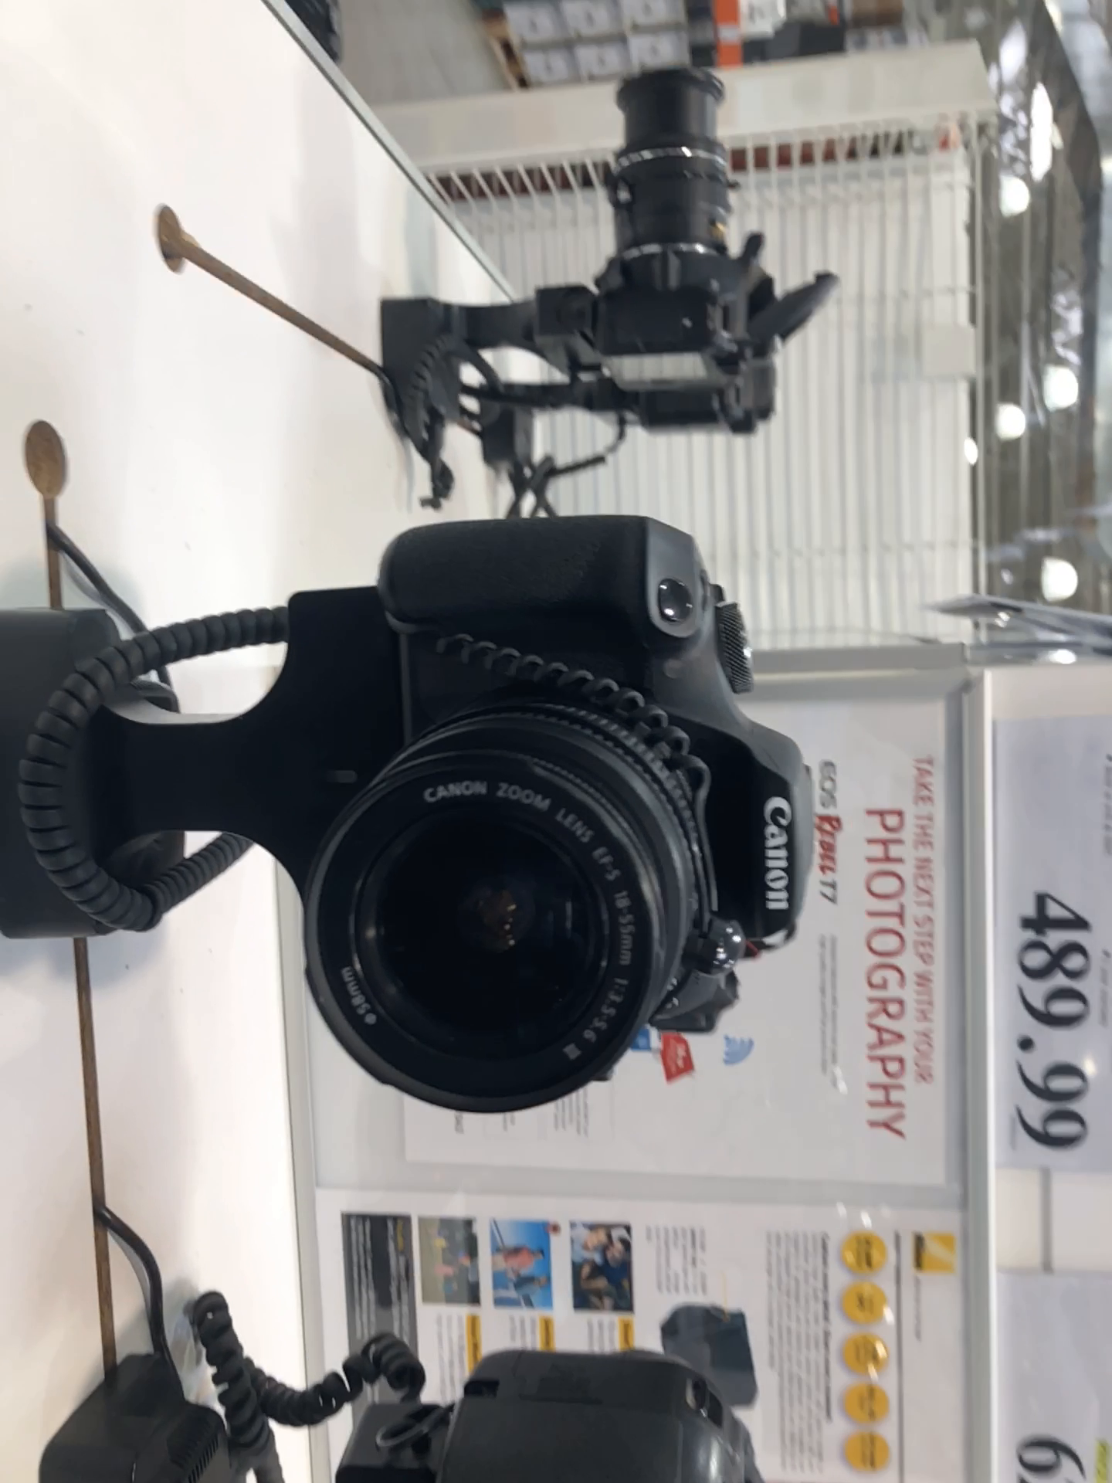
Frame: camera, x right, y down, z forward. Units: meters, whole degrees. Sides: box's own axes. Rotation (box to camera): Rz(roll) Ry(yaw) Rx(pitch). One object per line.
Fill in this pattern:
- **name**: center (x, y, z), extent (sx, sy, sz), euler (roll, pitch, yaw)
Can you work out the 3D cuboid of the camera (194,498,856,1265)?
- **camera**: center (0.007, 0.015, 0.284), extent (0.150, 0.110, 0.130), euler (-45, 134, -77)
